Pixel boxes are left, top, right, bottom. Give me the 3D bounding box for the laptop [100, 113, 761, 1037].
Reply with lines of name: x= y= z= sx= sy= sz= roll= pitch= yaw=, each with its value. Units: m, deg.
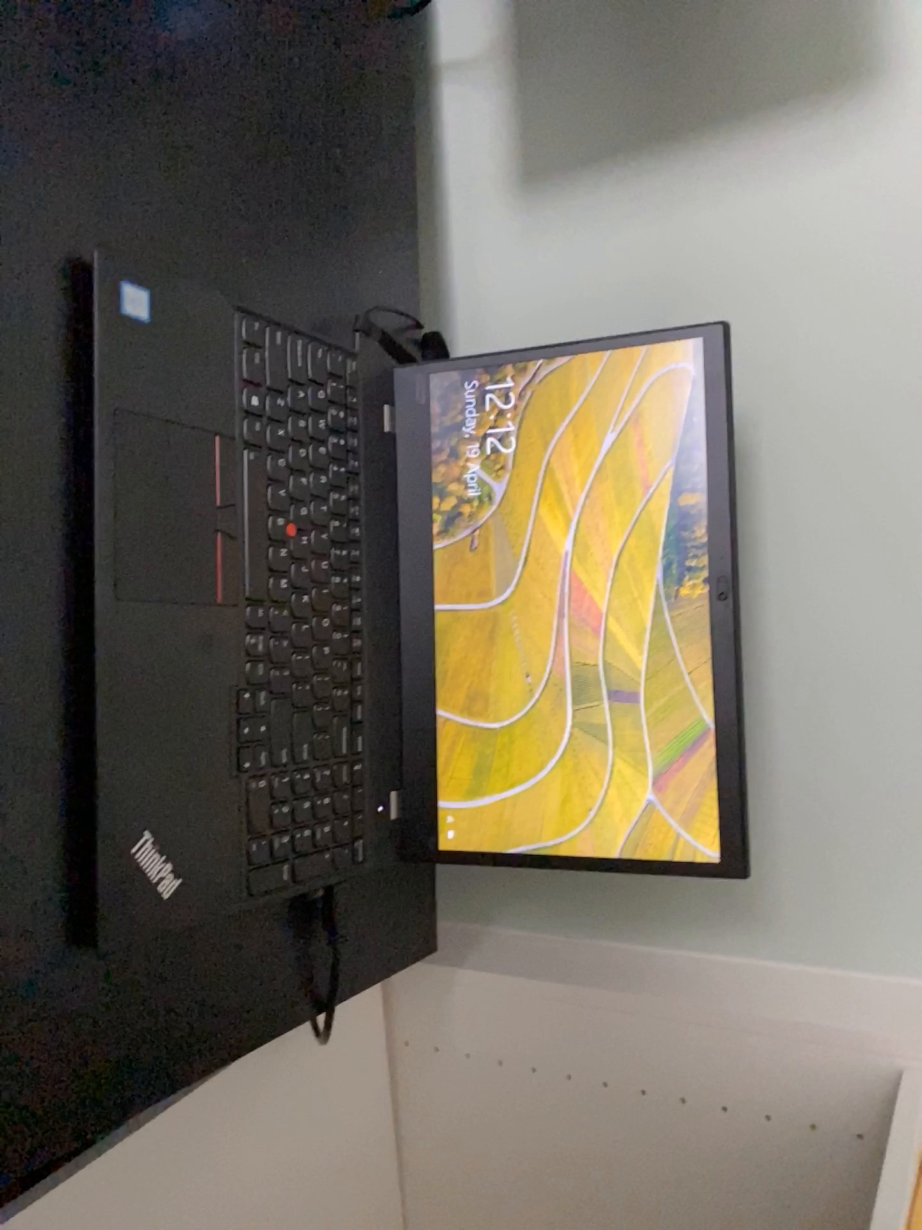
laptop: x=0.002 y=-0.009 z=0.535 sx=0.295 sy=0.231 sz=0.351 roll=4 pitch=83 yaw=-58
